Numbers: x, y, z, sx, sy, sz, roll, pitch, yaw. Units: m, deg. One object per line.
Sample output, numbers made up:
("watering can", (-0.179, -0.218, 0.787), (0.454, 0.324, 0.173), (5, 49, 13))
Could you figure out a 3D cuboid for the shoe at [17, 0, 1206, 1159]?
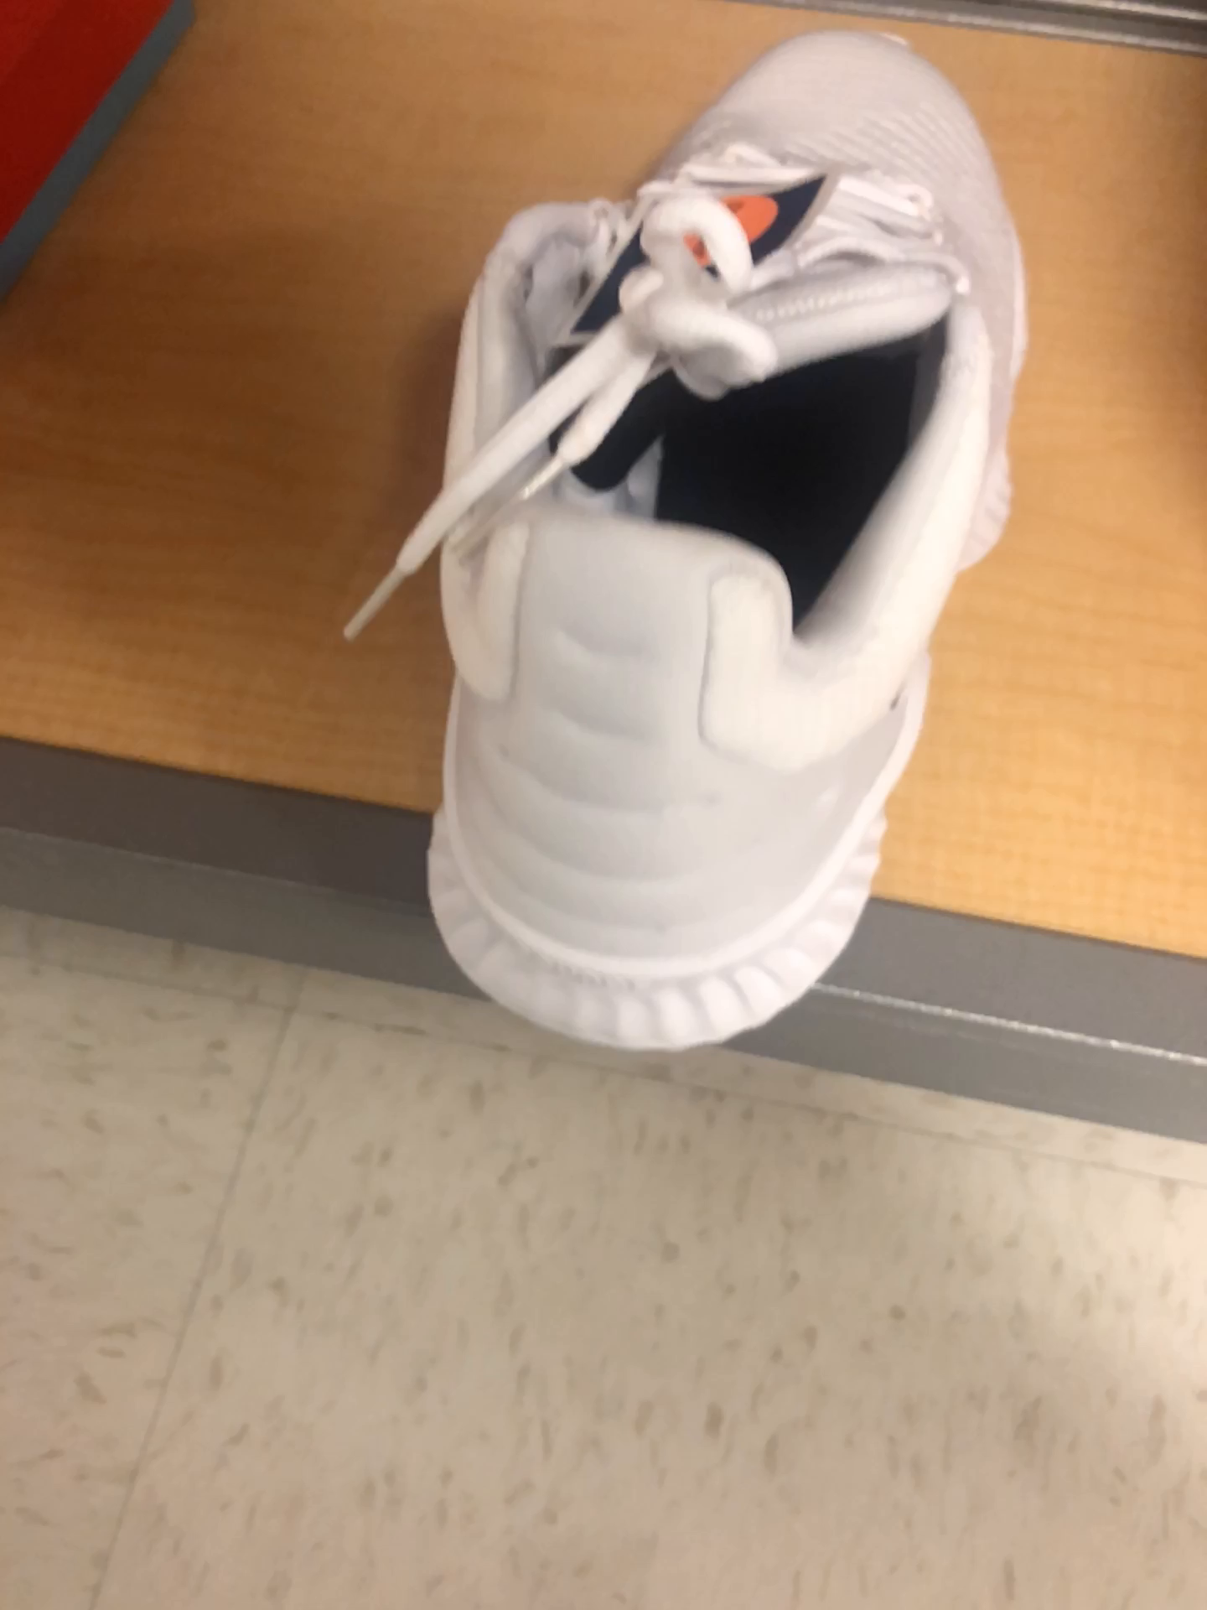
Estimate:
("shoe", (0.041, -0.121, 0.296), (0.120, 0.149, 0.337), (16, 62, 9))
